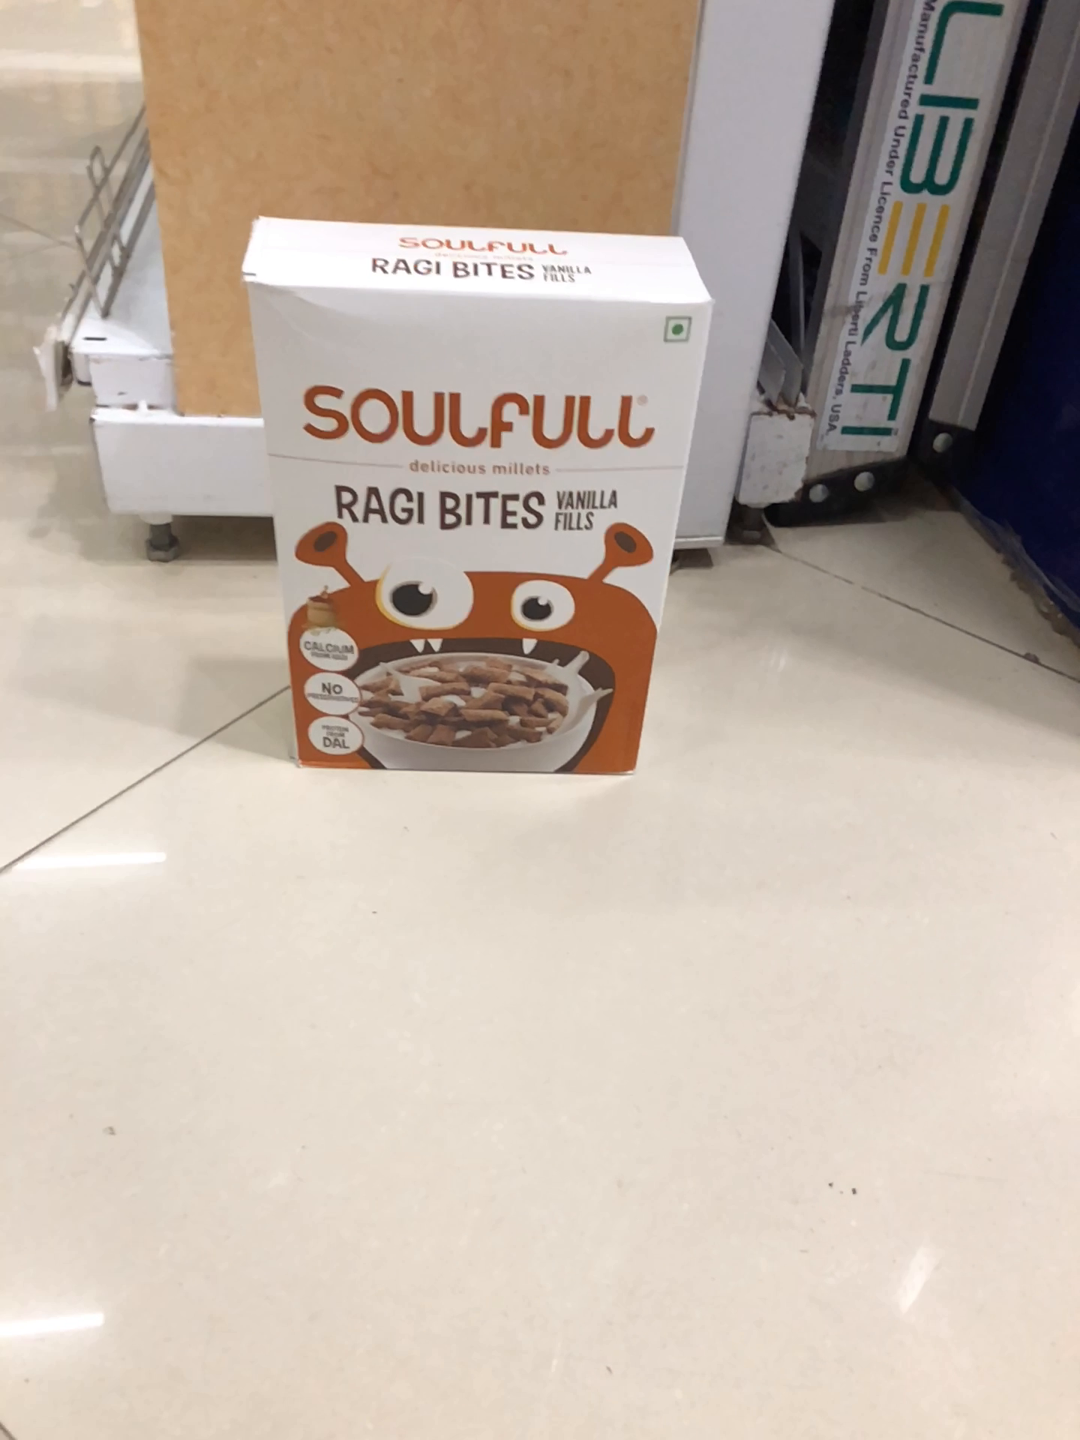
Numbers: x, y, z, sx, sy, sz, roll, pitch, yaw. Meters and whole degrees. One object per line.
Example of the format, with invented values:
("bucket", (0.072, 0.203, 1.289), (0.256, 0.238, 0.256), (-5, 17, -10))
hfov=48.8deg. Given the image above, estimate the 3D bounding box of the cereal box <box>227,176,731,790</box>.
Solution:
("cereal box", (-0.029, -0.086, 0.509), (0.170, 0.248, 0.071), (1, 41, -5))
